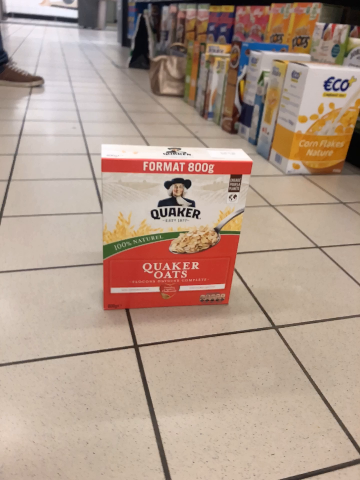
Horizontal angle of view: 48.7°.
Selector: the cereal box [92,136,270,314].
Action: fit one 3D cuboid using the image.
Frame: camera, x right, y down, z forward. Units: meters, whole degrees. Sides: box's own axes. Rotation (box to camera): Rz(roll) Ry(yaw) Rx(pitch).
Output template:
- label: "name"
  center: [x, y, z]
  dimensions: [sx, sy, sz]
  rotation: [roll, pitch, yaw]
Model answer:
- label: "cereal box"
  center: [-0.010, -0.014, 0.541]
  dimensions: [0.210, 0.229, 0.060]
  rotation: [0, 29, -11]
